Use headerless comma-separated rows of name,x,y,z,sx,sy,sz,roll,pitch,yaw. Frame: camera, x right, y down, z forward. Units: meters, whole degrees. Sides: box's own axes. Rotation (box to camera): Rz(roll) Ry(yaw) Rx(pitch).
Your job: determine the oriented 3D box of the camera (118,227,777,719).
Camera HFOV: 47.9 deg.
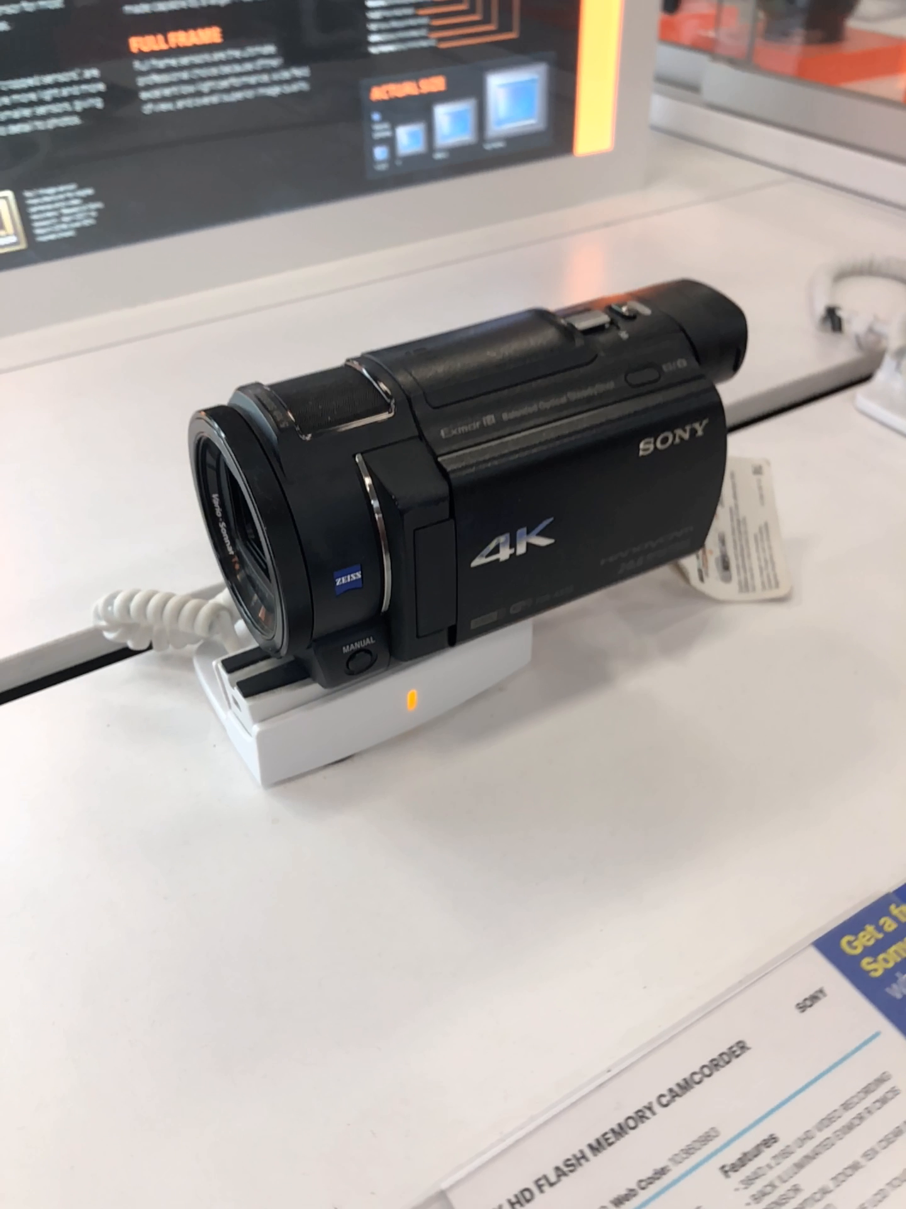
camera,0.000,-0.045,0.285,0.150,0.070,0.080,-21,42,-23
